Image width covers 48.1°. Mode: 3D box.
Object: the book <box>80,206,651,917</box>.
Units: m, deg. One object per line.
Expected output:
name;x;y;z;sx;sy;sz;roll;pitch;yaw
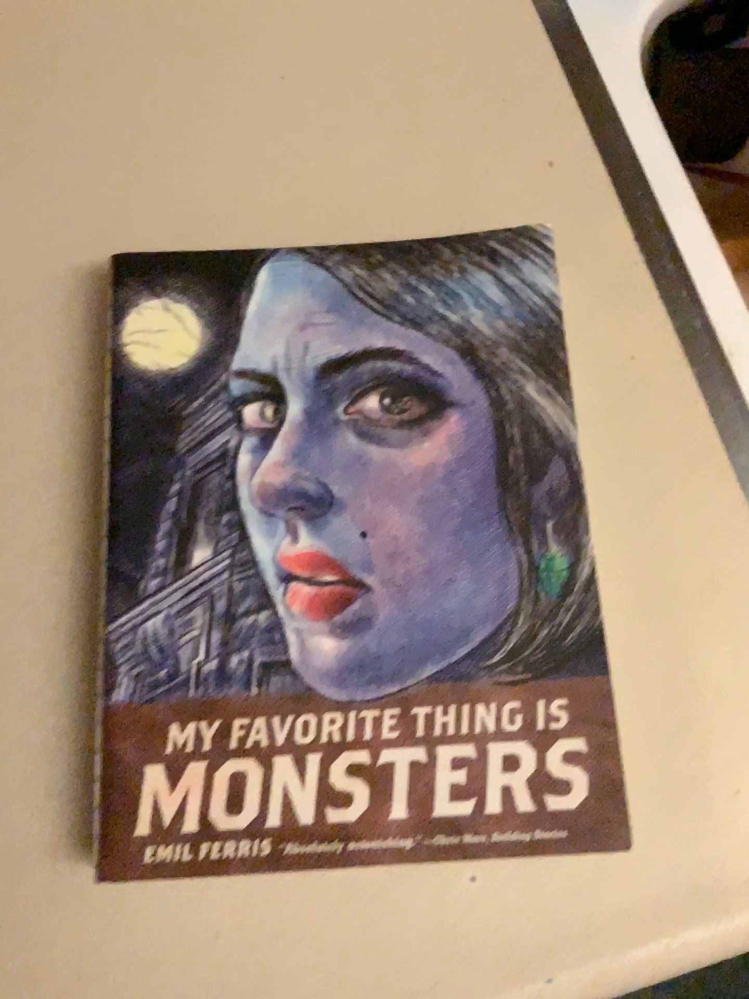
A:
book;-0.013;0.013;0.349;0.200;0.040;0.270;-4;74;-2
